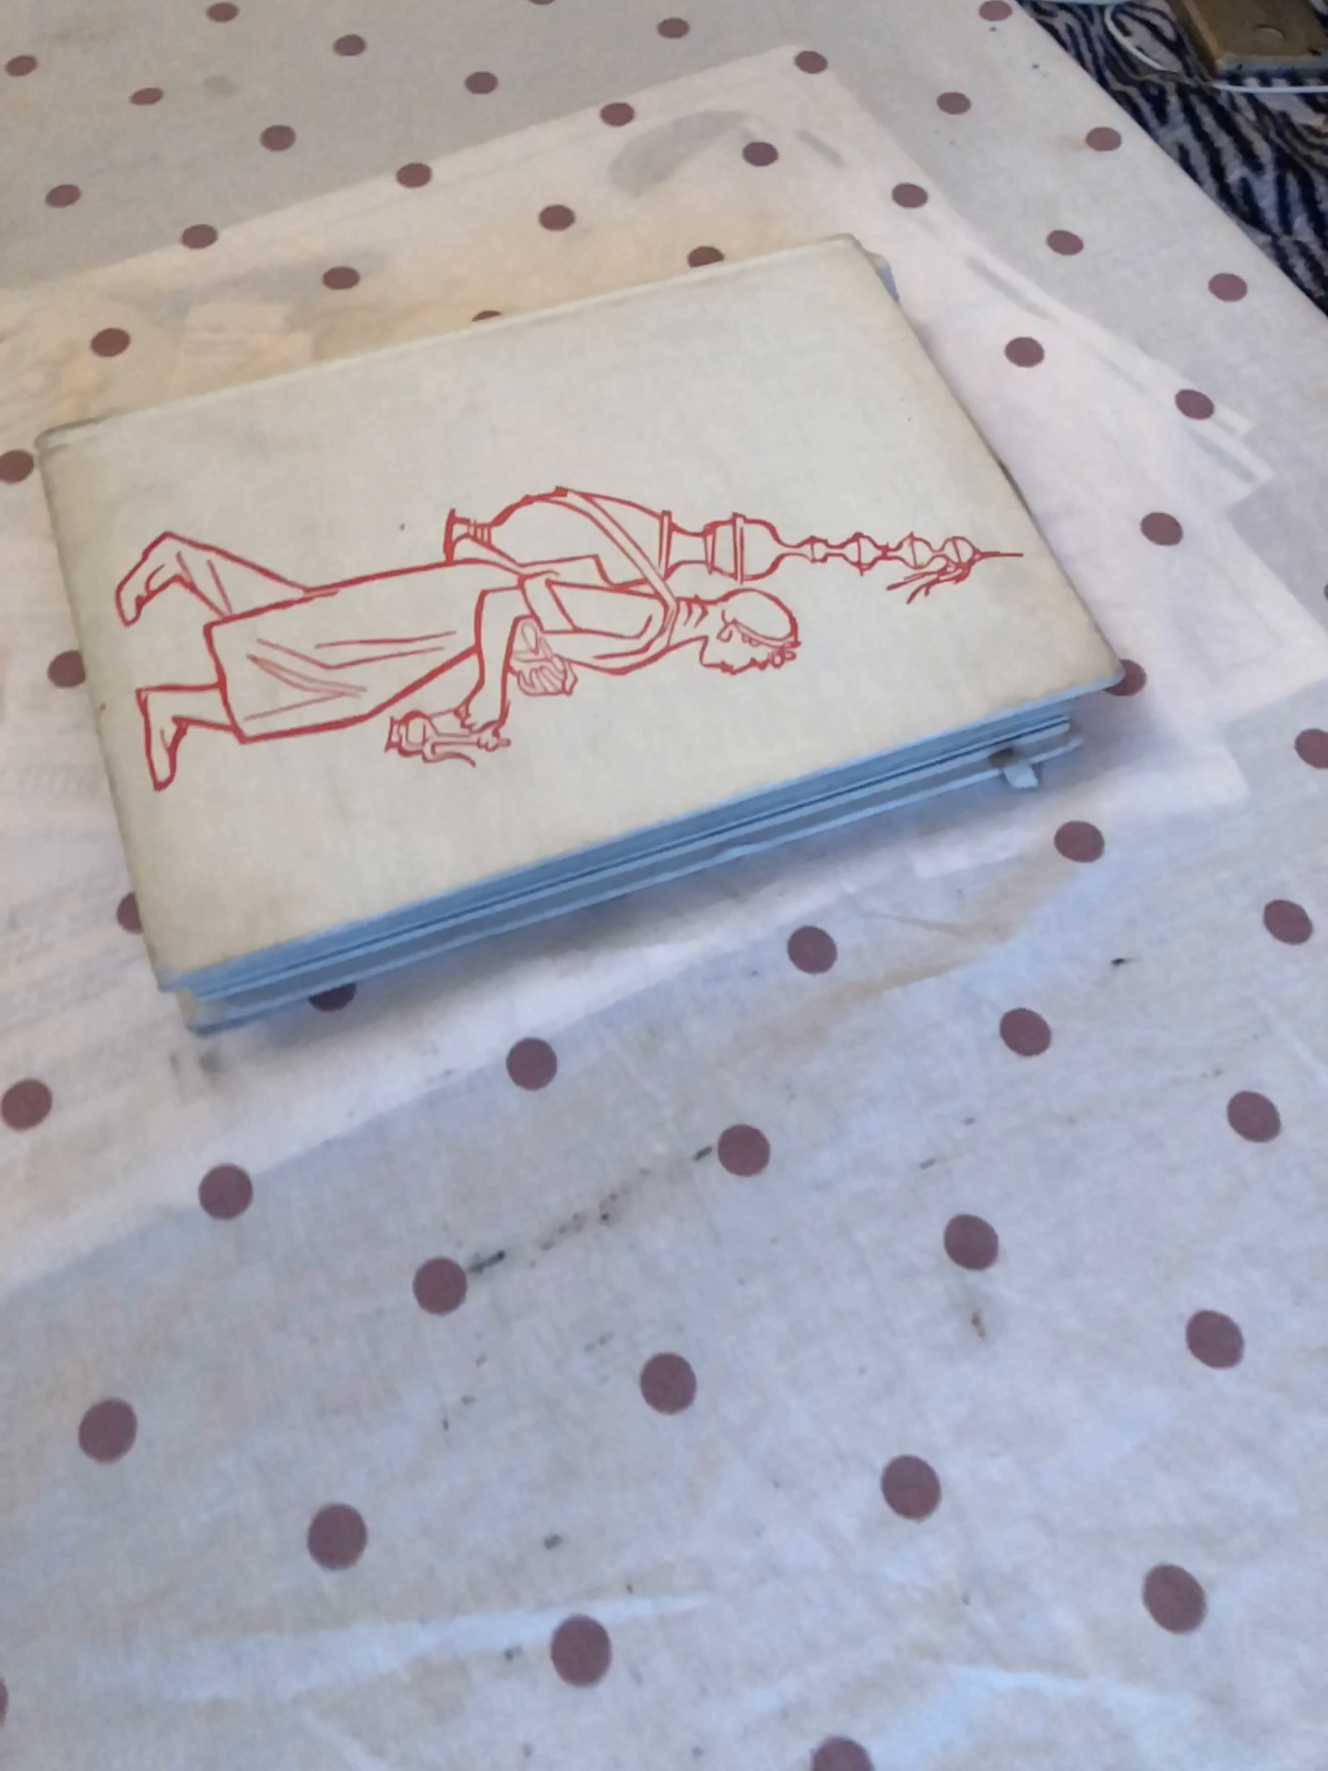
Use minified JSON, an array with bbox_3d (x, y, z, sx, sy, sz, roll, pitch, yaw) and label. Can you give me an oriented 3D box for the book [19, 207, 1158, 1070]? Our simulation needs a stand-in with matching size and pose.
[{"bbox_3d":[-0.026,-0.076,0.387,0.240,0.050,0.175,-18,64,-10],"label":"book"}]
